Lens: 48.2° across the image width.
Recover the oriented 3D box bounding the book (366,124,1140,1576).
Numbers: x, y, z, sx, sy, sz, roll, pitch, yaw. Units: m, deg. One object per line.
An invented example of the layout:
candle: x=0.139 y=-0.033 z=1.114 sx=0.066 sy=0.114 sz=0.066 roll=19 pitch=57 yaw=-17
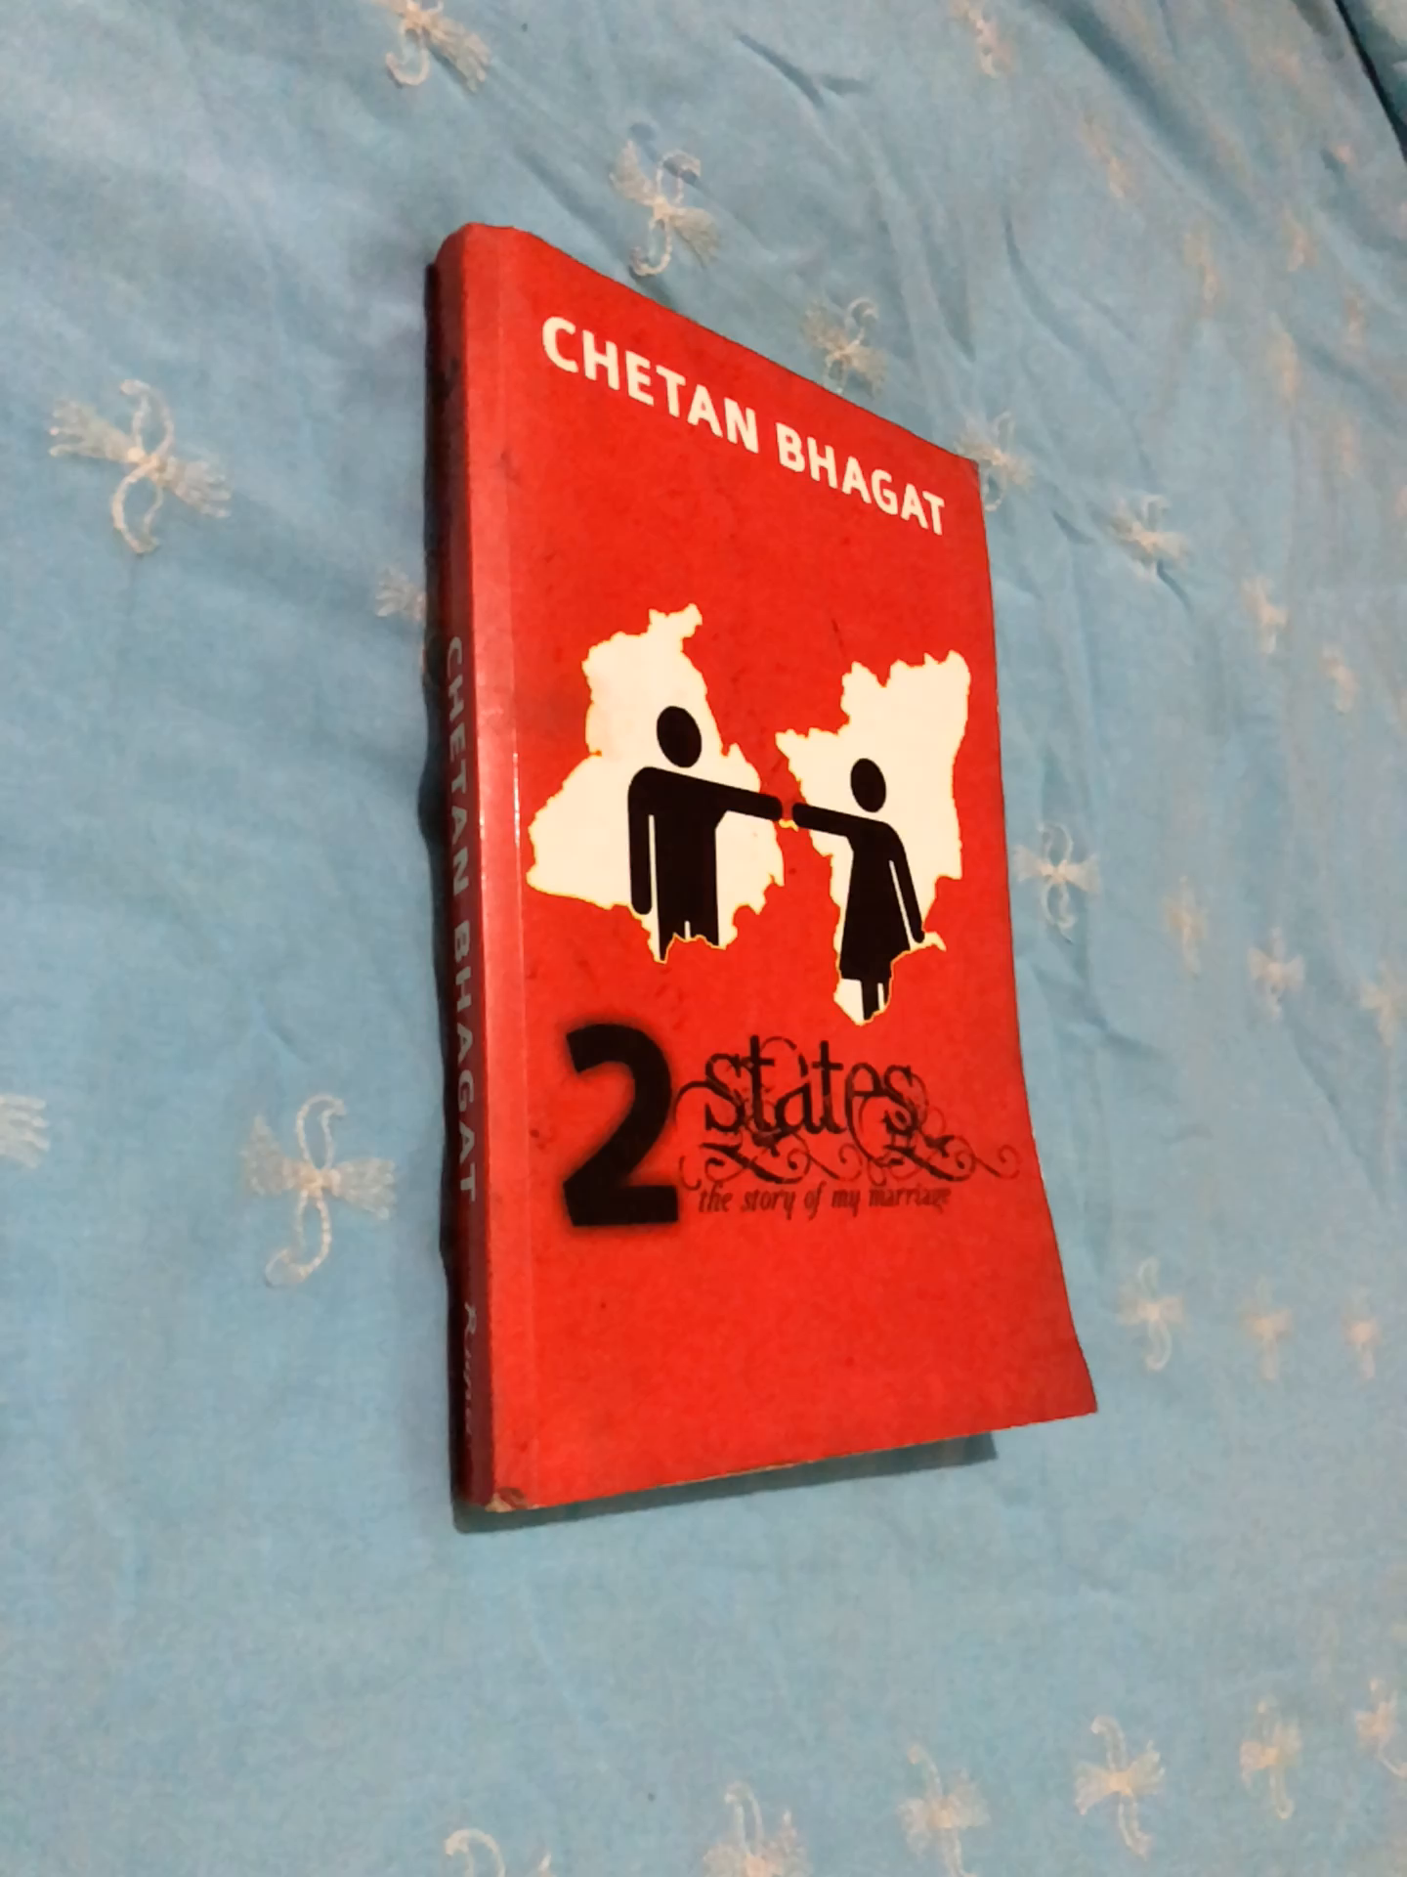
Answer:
book: x=0.013 y=-0.011 z=0.269 sx=0.141 sy=0.030 sz=0.200 roll=8 pitch=73 yaw=-45
